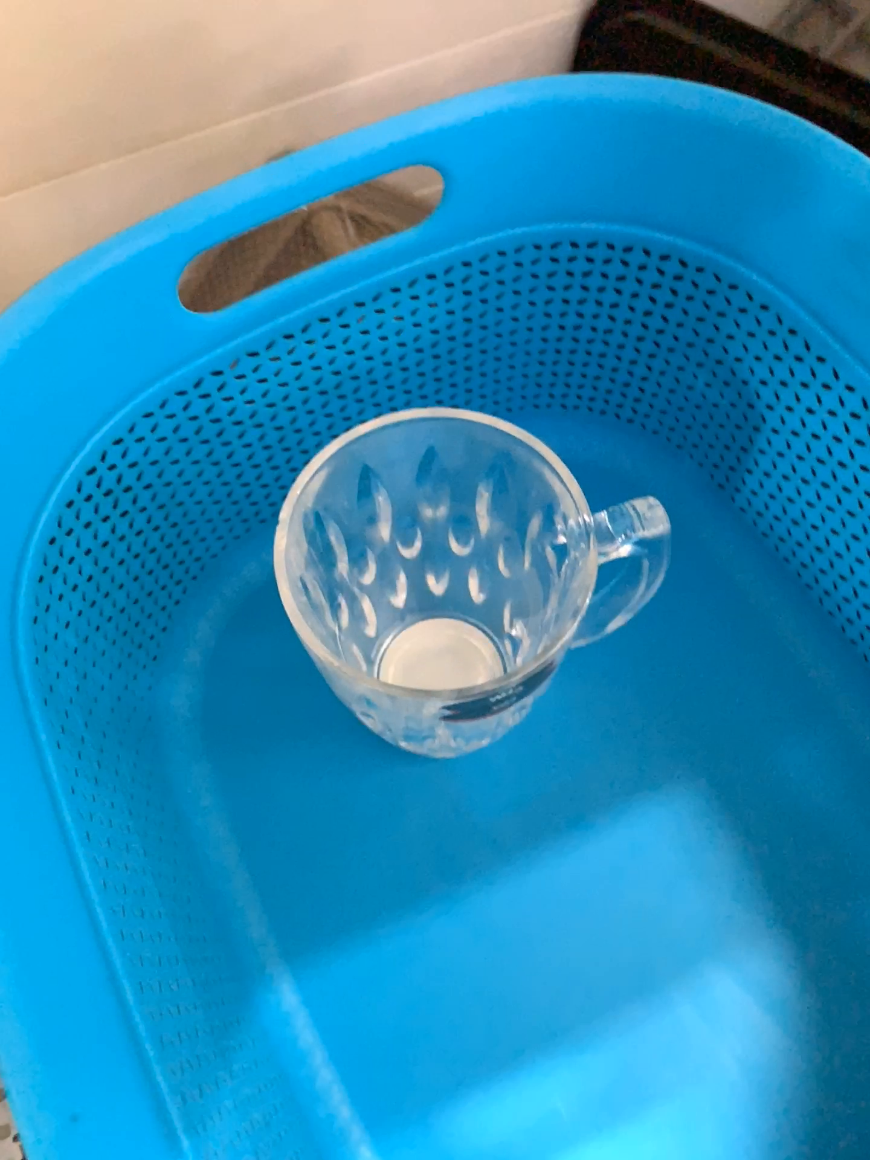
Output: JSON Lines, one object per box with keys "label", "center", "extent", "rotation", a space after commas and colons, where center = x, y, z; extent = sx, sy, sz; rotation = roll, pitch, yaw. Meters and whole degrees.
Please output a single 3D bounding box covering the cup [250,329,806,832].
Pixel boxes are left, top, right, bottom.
{"label": "cup", "center": [0.021, 0.008, 0.266], "extent": [0.110, 0.110, 0.080], "rotation": [-19, 67, -7]}
